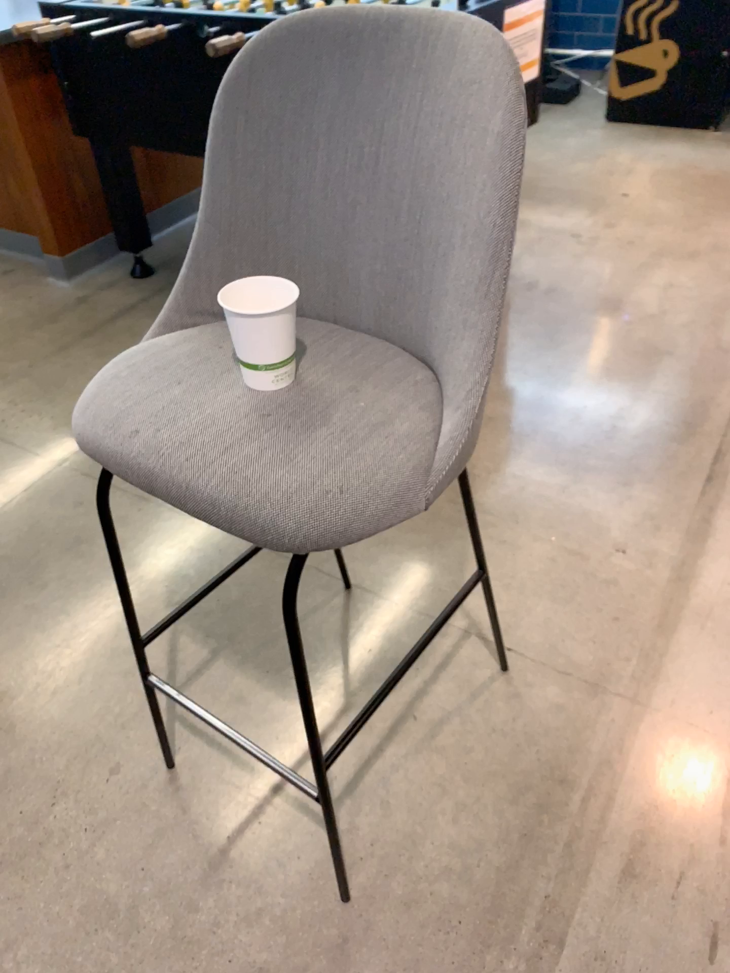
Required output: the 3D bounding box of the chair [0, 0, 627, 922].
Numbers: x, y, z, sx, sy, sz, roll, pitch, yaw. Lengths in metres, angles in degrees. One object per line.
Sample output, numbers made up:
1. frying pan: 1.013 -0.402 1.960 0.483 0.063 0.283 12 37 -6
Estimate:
1. chair: -0.064 -0.005 1.045 0.472 1.054 0.572 23 47 29
